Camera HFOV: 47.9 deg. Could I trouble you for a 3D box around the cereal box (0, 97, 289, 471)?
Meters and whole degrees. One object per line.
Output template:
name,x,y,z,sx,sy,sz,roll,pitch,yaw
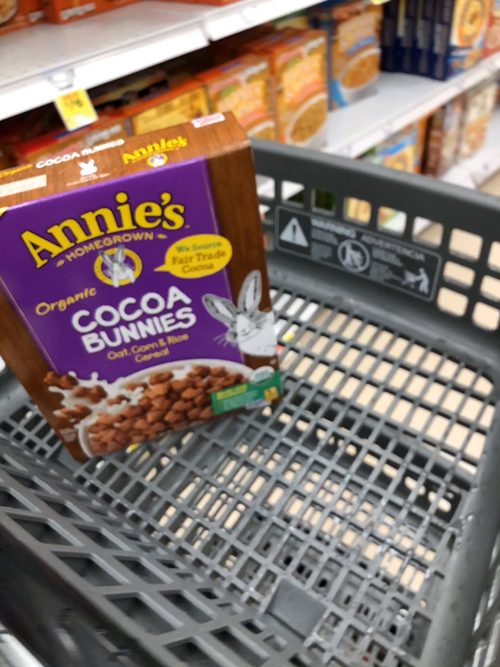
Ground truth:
cereal box,-0.083,-0.017,0.401,0.200,0.239,0.050,-16,45,-7
